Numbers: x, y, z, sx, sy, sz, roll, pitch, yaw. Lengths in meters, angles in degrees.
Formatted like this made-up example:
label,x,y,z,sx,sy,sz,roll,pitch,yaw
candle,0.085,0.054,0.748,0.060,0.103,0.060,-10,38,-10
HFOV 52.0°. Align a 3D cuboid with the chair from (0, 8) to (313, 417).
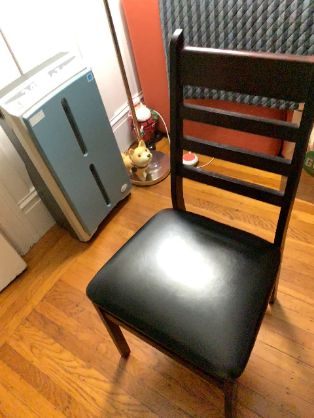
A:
label,x,y,z,sx,sy,sz,roll,pitch,yaw
chair,0.082,0.100,0.782,0.492,0.865,0.551,18,54,28
